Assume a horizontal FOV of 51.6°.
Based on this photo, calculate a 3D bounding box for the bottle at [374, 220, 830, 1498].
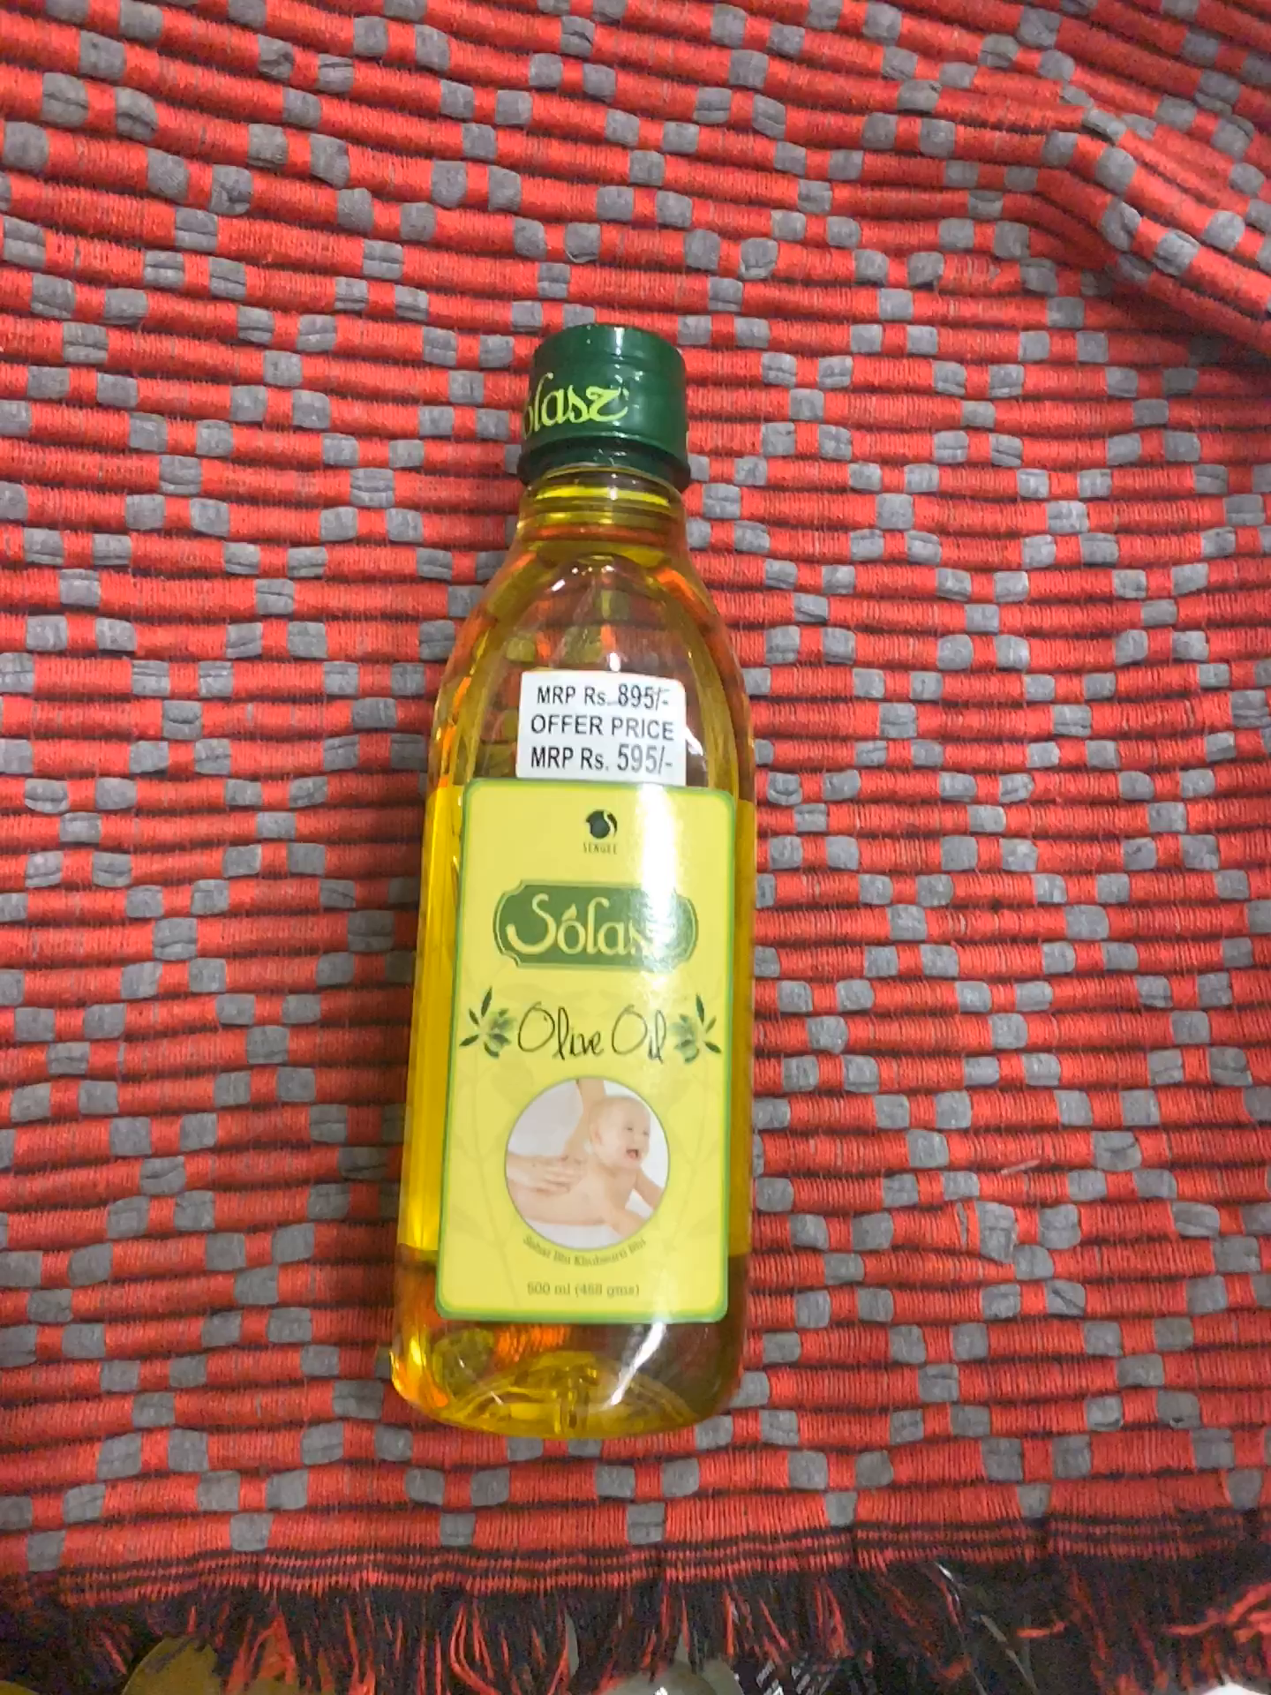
[{"bbox_3d":[-0.003,-0.002,0.255,0.070,0.060,0.220,3,79,-3],"label":"bottle"}]
